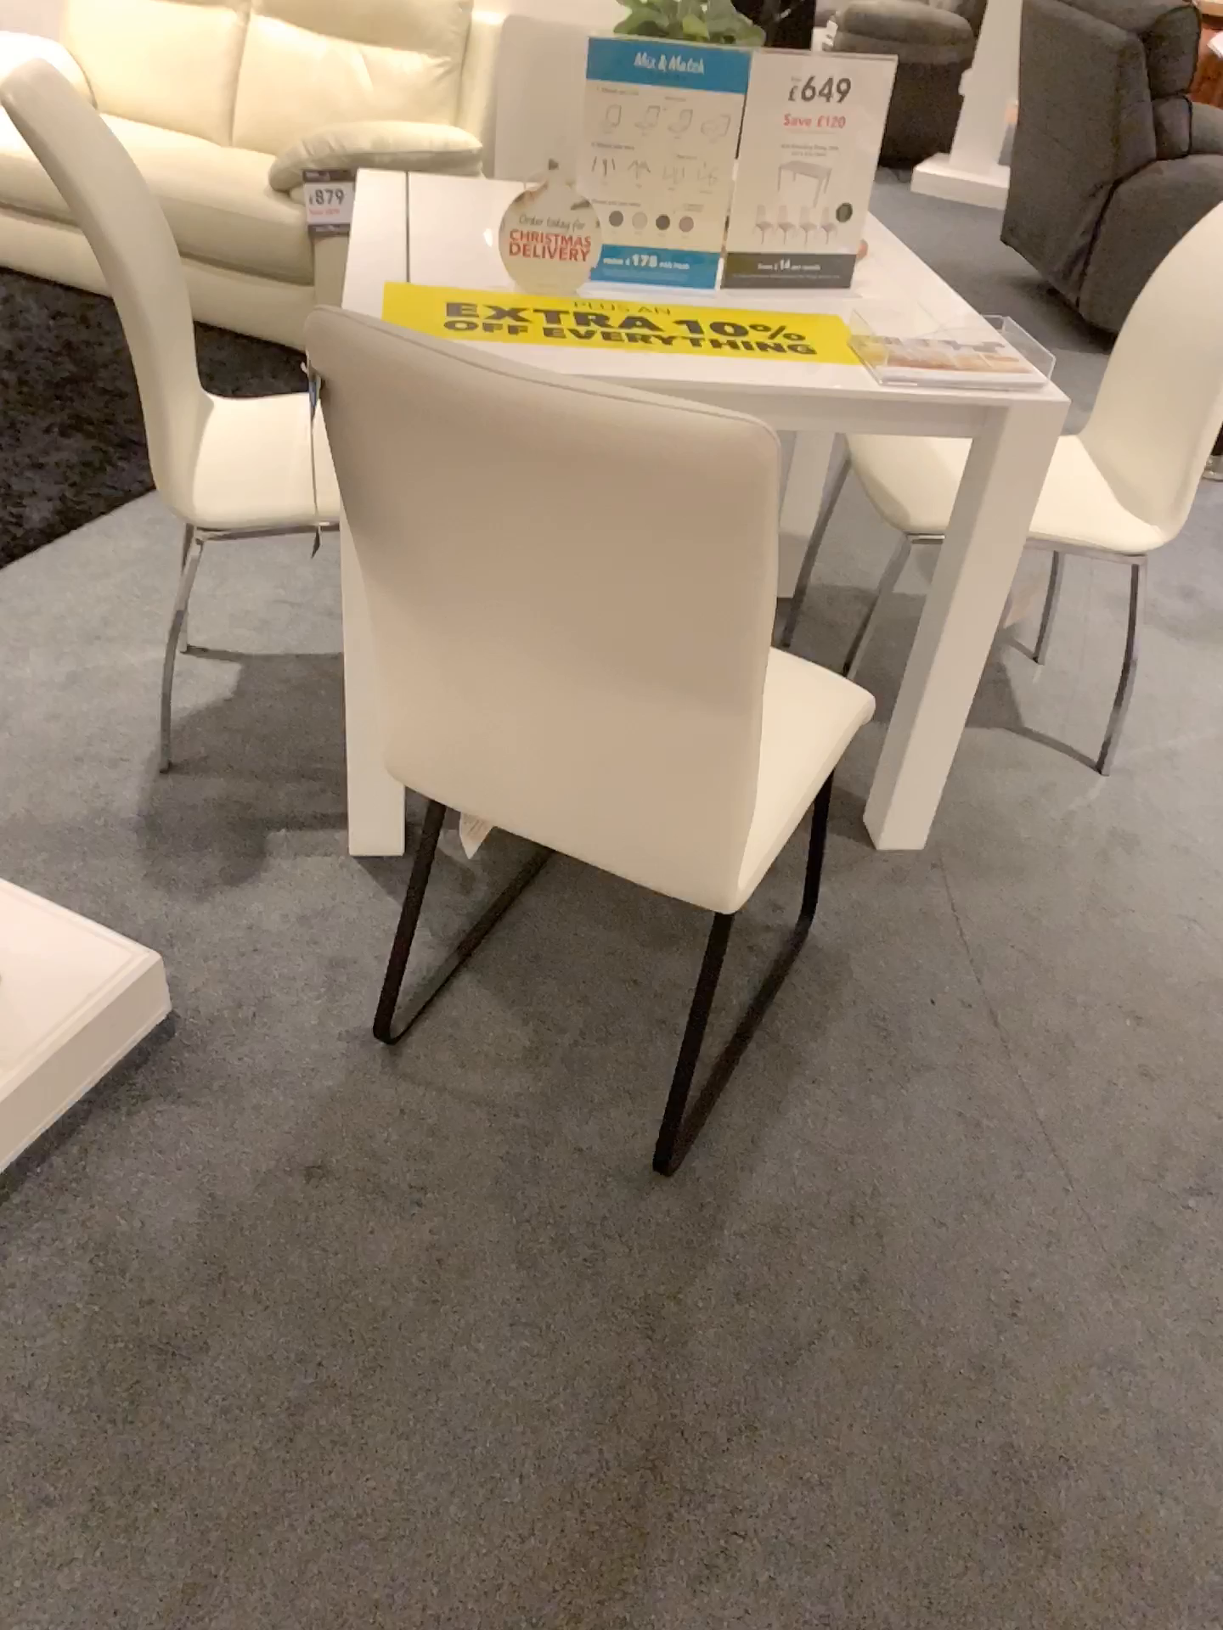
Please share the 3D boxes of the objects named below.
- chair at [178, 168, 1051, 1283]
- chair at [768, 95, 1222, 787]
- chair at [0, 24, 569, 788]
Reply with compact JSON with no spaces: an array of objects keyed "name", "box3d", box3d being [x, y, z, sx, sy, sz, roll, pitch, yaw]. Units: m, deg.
[{"name":"chair","box3d":[0.013,-0.113,1.341,0.541,0.881,0.636,20,40,16]},{"name":"chair","box3d":[0.672,-0.575,1.996,0.600,0.881,0.556,2,38,-7]},{"name":"chair","box3d":[-0.462,-0.574,1.839,0.640,0.901,0.525,-3,39,-13]}]
